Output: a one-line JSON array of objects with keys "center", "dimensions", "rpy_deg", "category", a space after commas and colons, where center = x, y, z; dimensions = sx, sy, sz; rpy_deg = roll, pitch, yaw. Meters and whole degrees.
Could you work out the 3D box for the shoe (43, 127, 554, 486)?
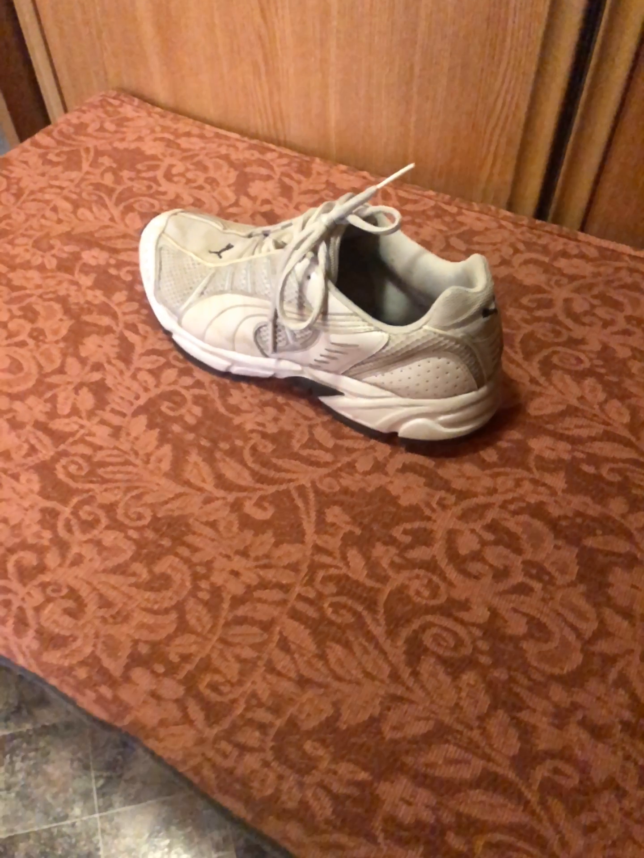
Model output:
[{"center": [-0.021, -0.088, 0.455], "dimensions": [0.290, 0.100, 0.100], "rpy_deg": [24, 55, 20], "category": "shoe"}]
